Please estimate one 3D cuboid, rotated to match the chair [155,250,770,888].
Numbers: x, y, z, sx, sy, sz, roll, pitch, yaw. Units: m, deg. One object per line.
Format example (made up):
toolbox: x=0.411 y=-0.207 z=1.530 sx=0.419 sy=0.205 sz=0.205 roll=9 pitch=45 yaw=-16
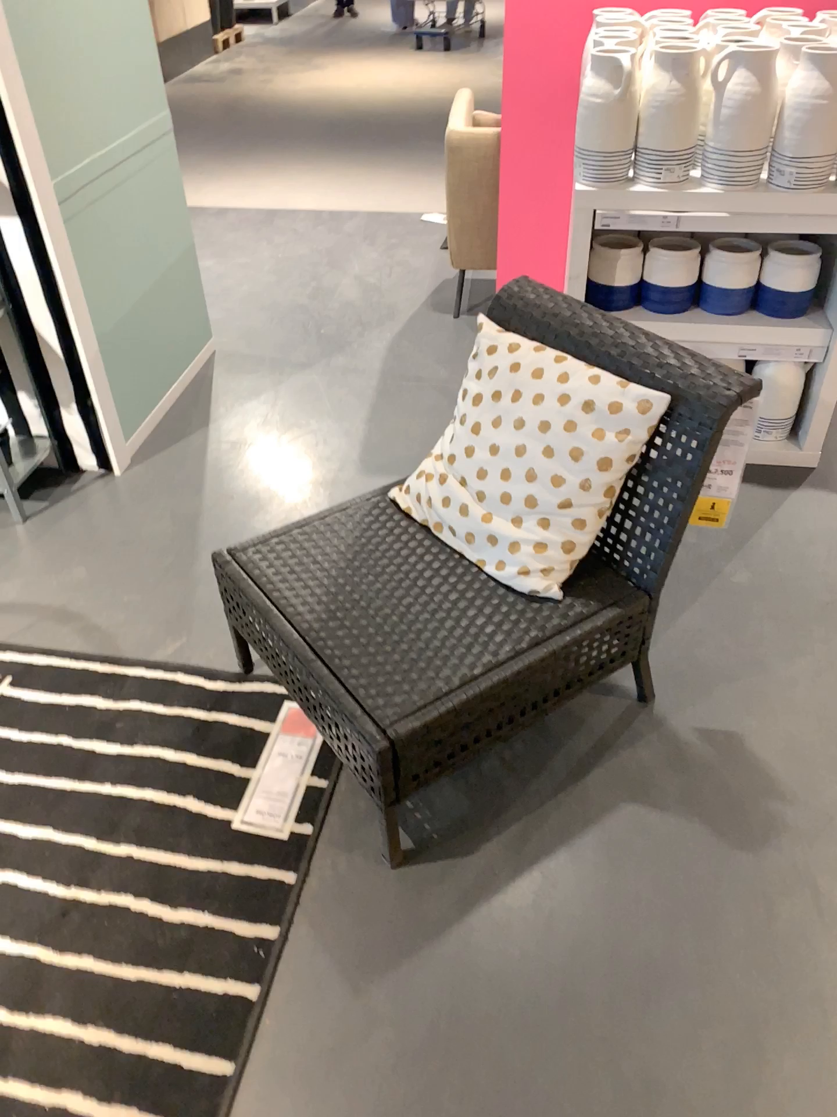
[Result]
chair: x=0.064 y=-0.035 z=1.697 sx=0.781 sy=0.797 sz=0.702 roll=-24 pitch=44 yaw=-25
